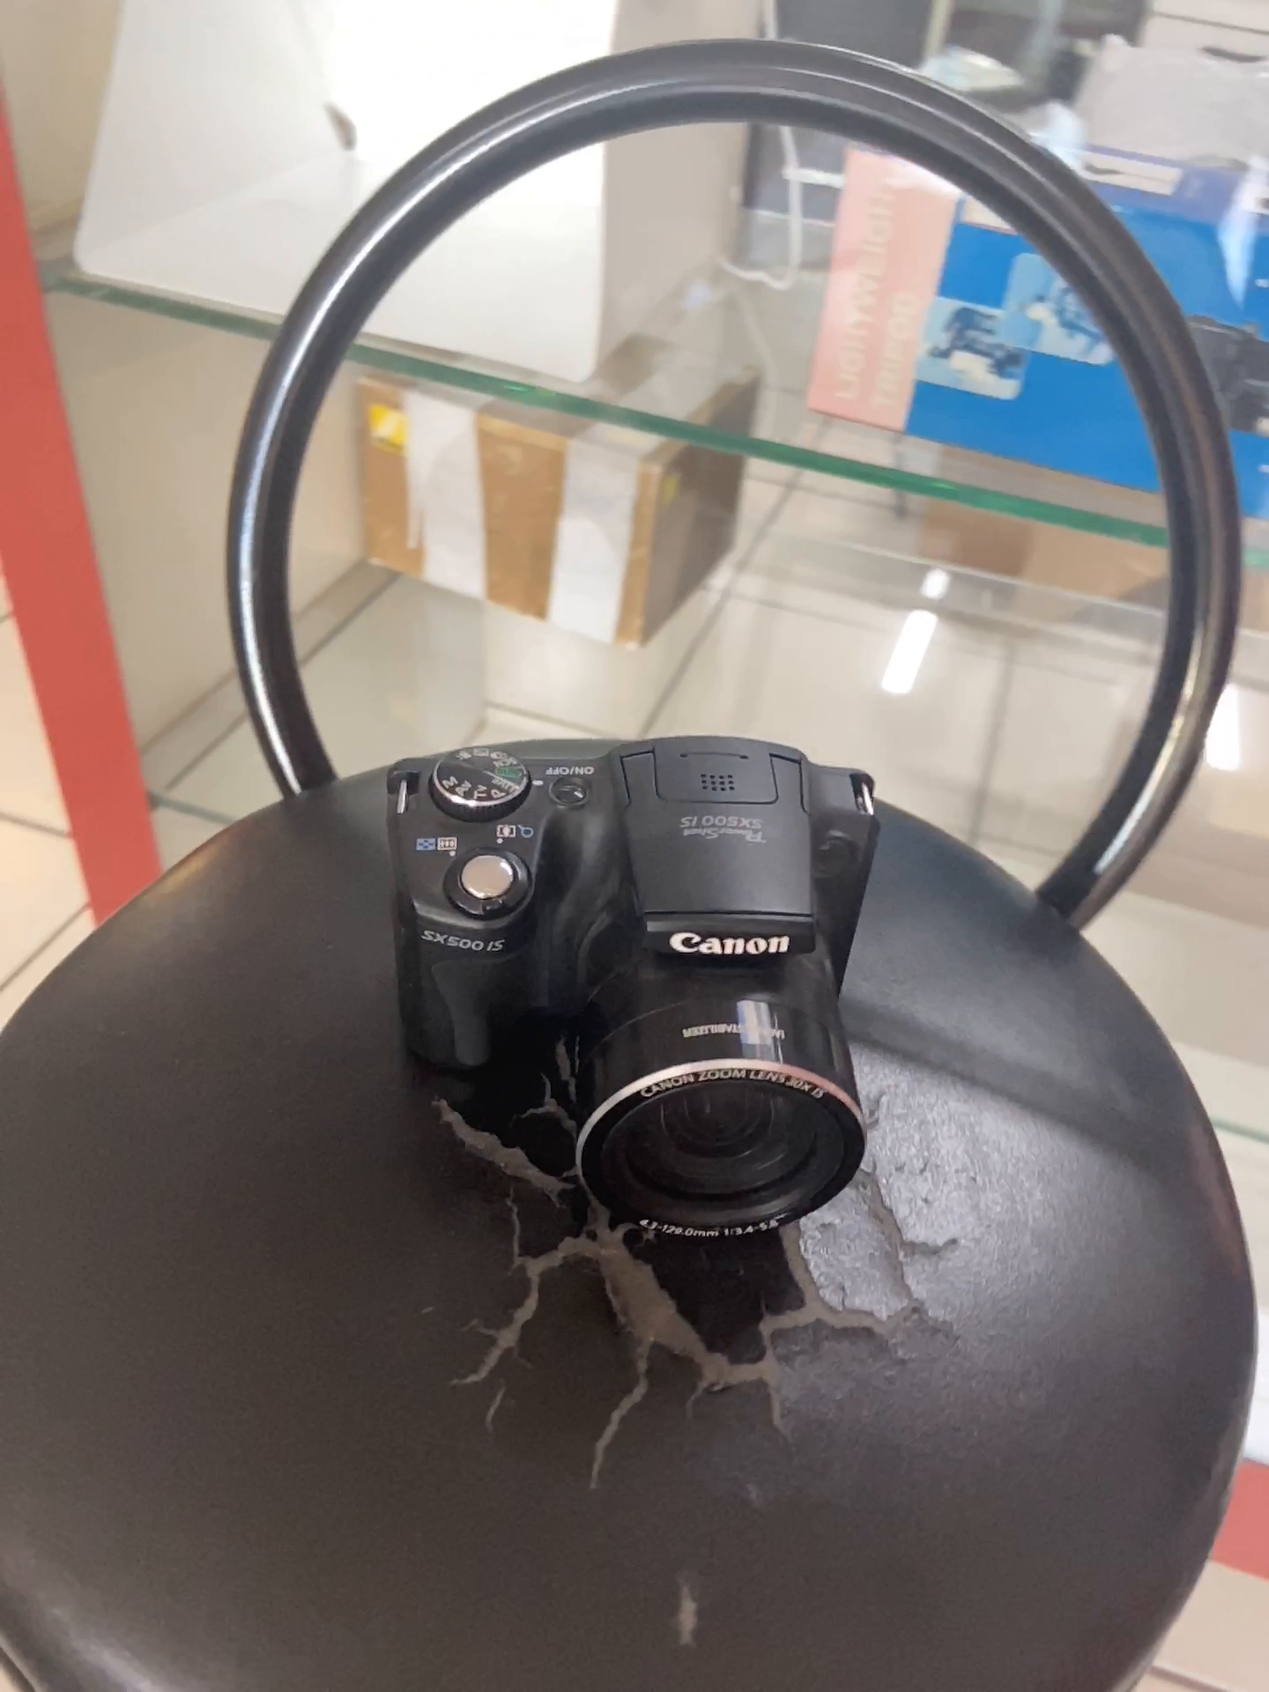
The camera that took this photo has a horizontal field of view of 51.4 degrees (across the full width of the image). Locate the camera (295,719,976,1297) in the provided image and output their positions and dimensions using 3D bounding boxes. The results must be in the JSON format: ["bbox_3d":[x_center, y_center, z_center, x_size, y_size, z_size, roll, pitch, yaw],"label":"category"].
[{"bbox_3d":[-0.004,0.029,0.268,0.110,0.070,0.091,-1,39,-6],"label":"camera"}]
